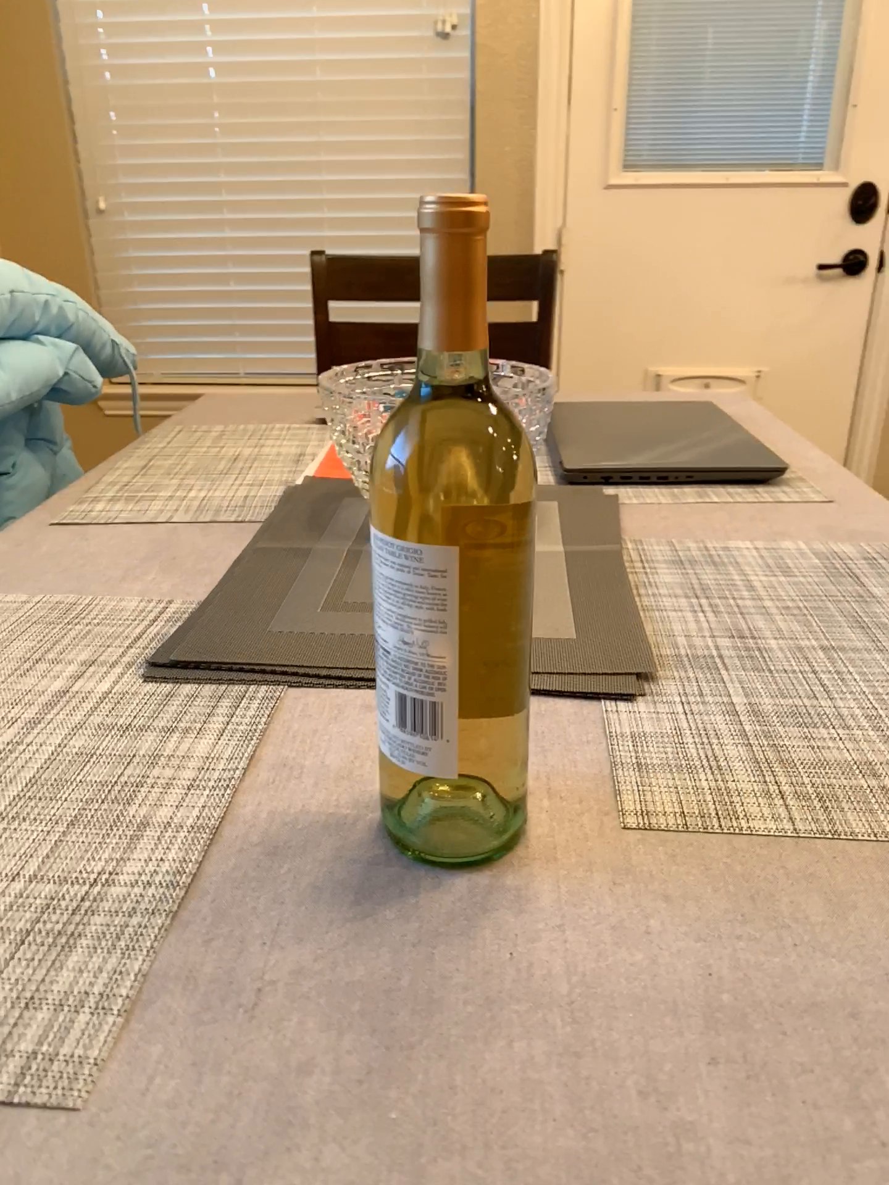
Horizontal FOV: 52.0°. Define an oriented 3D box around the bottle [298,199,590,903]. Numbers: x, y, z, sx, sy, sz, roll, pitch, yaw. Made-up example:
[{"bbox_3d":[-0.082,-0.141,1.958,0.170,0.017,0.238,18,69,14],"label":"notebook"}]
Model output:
[{"bbox_3d":[0.001,-0.017,0.418,0.084,0.299,0.080,0,22,0],"label":"bottle"}]
